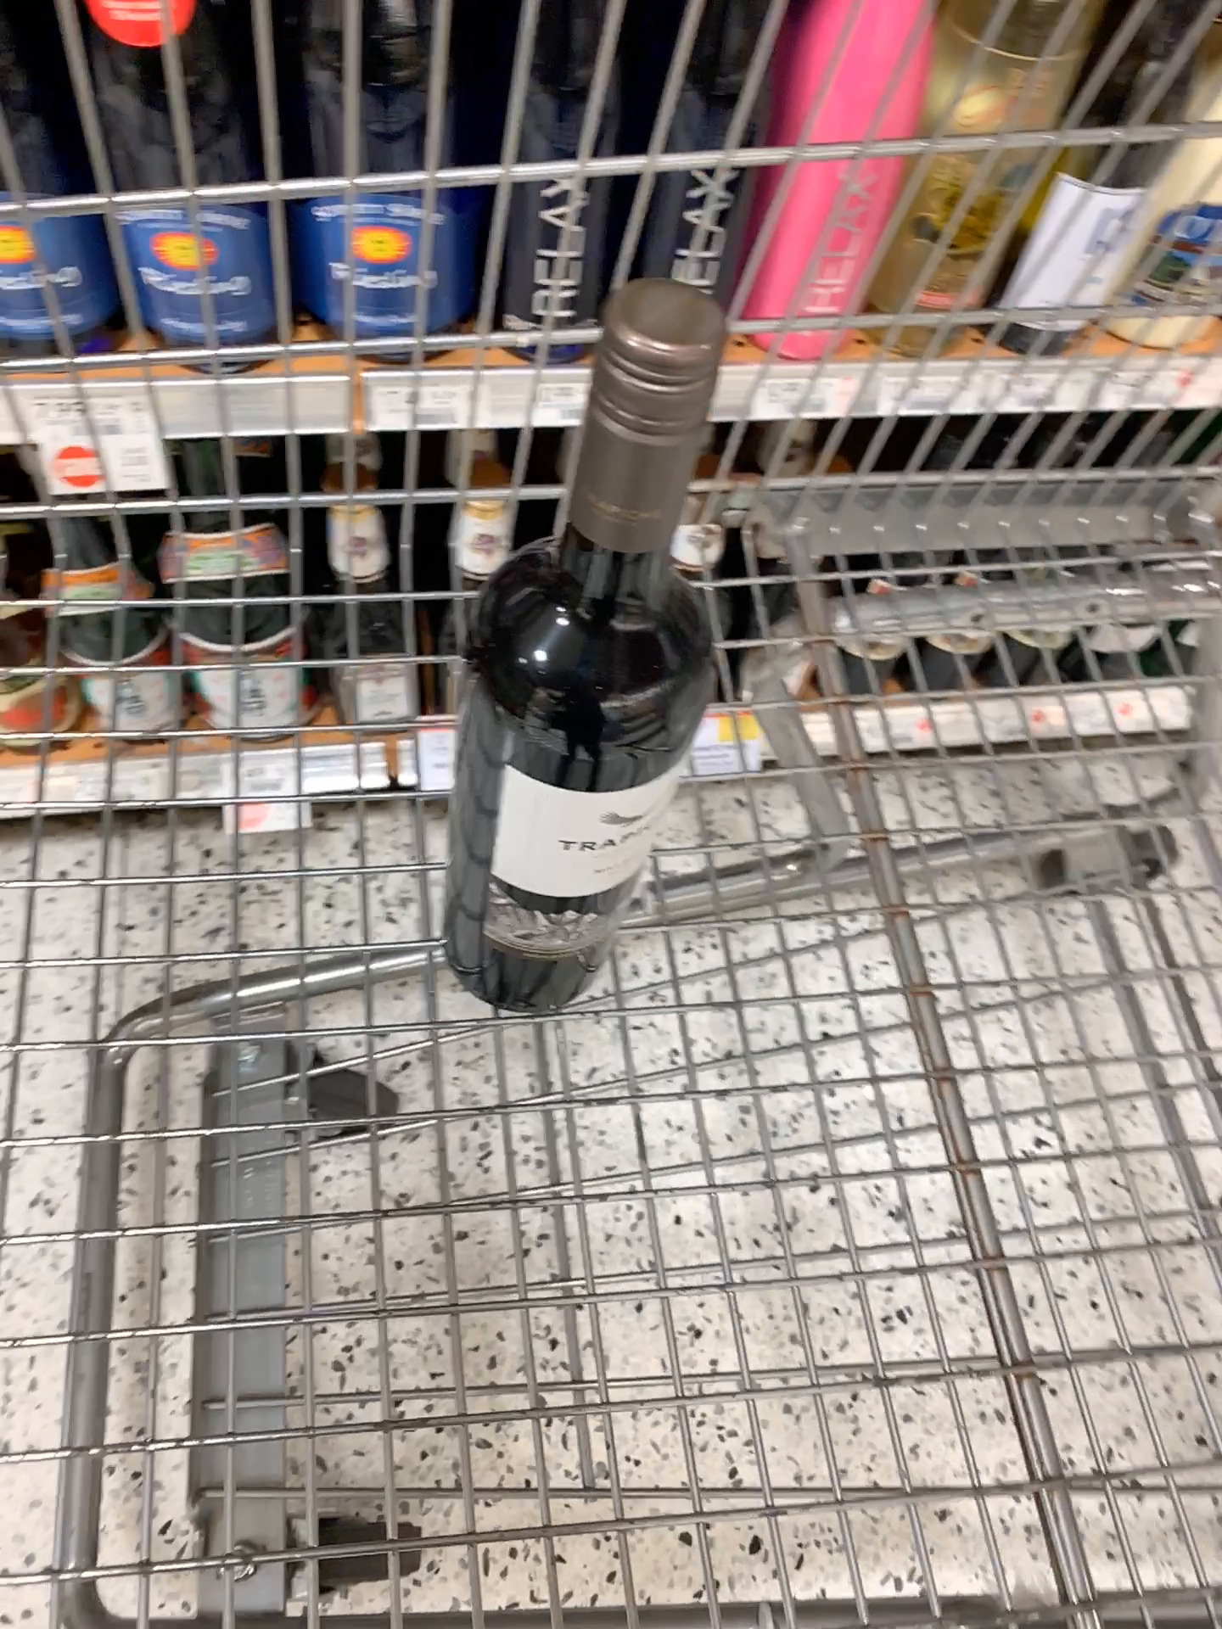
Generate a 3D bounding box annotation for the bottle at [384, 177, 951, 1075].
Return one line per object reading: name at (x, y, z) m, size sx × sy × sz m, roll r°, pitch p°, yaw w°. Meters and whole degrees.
bottle at (-0.010, -0.028, 0.399) m, size 0.090 × 0.298 × 0.090 m, roll 5°, pitch 57°, yaw -8°
